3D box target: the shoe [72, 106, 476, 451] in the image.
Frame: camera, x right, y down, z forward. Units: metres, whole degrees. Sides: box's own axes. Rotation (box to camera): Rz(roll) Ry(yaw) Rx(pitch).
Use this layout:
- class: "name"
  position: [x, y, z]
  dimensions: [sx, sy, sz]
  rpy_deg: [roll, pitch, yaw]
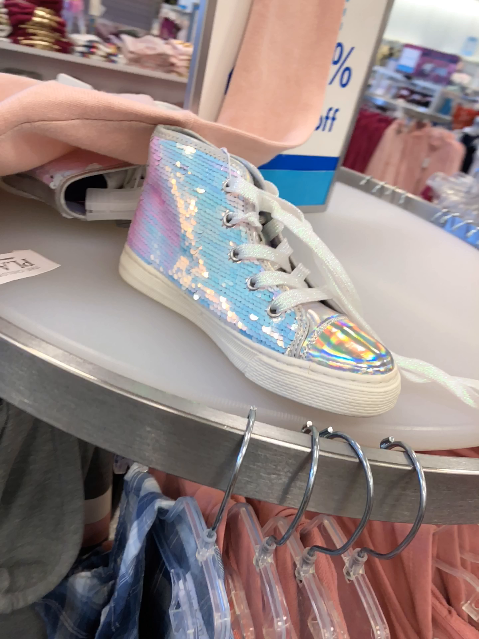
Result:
- class: "shoe"
  position: [0.005, -0.041, 0.322]
  dimensions: [0.212, 0.105, 0.090]
  rpy_deg: [33, 31, 29]
